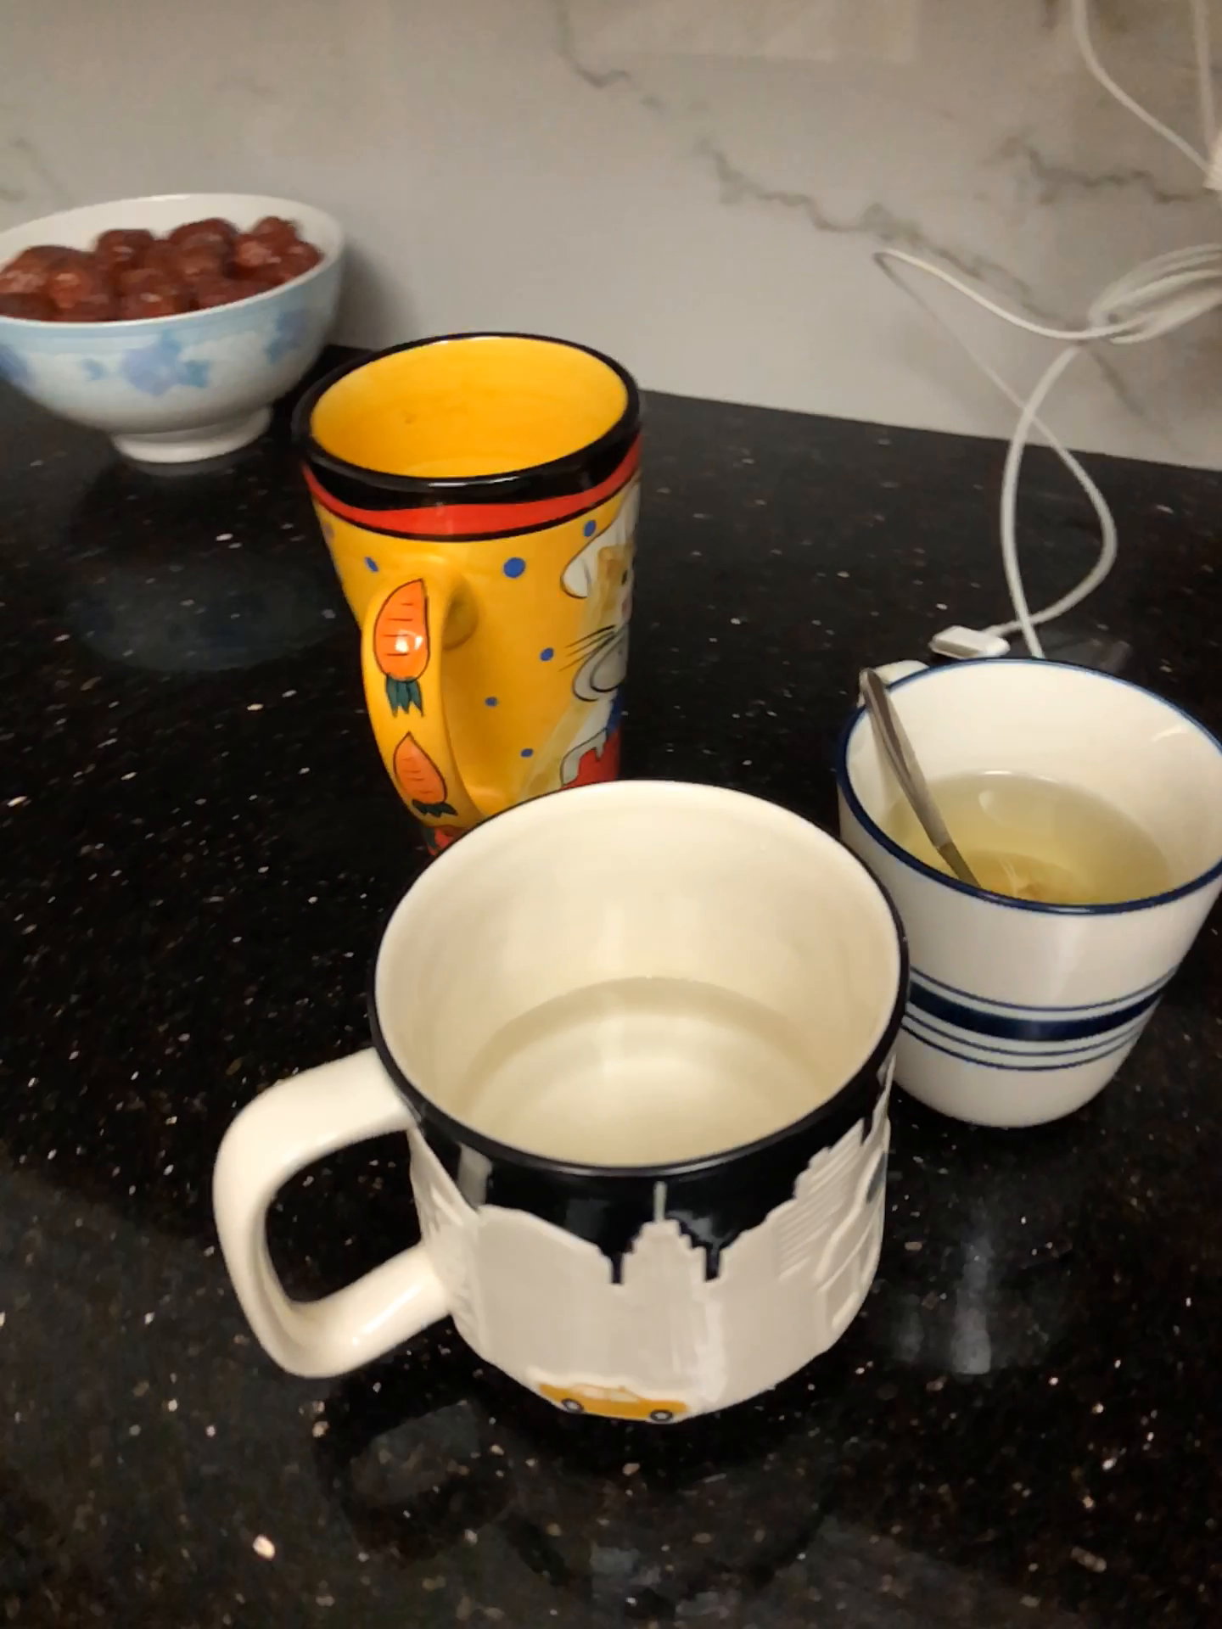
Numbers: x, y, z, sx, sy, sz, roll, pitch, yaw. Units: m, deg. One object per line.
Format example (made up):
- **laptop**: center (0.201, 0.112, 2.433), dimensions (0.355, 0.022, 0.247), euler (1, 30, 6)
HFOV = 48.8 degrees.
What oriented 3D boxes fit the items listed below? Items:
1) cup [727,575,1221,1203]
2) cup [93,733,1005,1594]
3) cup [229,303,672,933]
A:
- **cup**: center (0.085, 0.013, 0.330), dimensions (0.080, 0.080, 0.121), euler (-10, 42, -8)
- **cup**: center (-0.019, 0.063, 0.290), dimensions (0.150, 0.070, 0.121), euler (-16, 43, -14)
- **cup**: center (-0.031, -0.053, 0.364), dimensions (0.080, 0.129, 0.101), euler (5, 42, 9)
